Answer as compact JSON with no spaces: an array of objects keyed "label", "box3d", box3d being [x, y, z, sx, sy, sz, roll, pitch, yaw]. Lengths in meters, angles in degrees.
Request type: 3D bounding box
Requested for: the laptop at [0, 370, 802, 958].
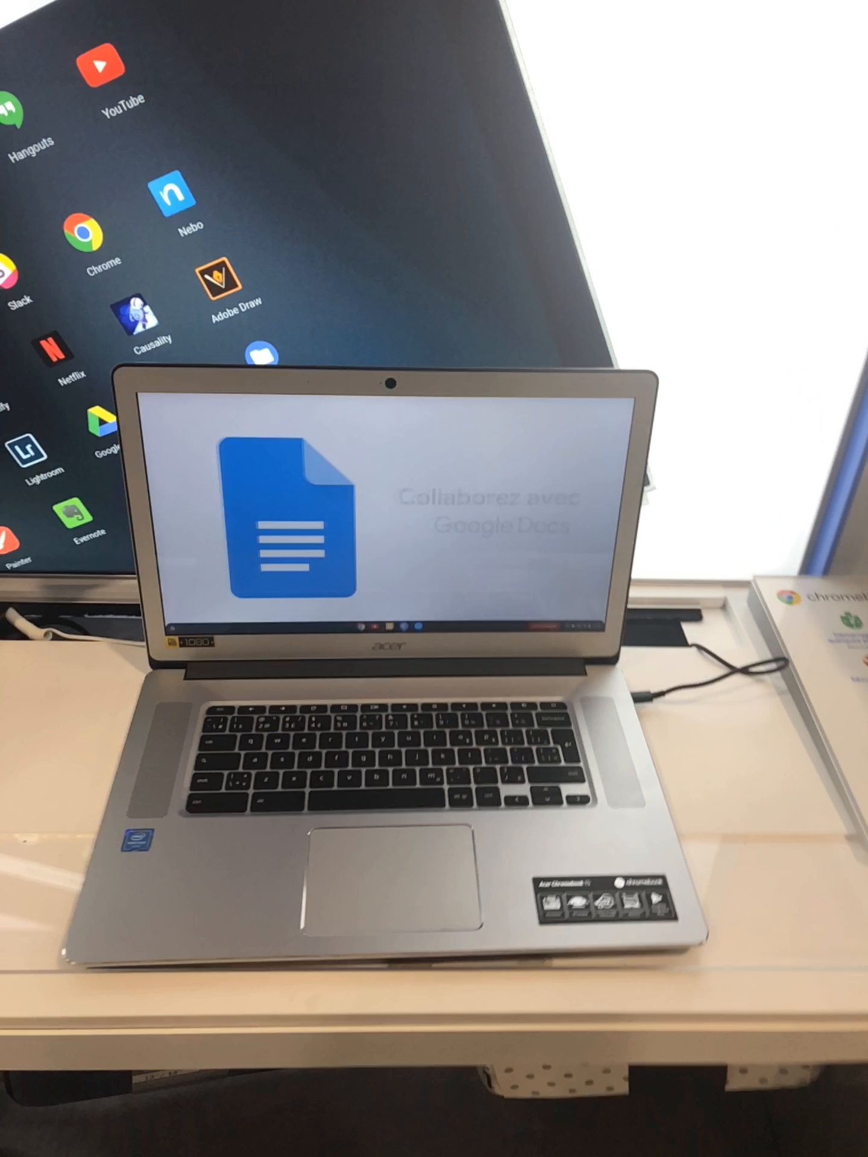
[{"label":"laptop","box3d":[-0.027,0.040,0.615,0.371,0.242,0.283,0,36,-4]}]
